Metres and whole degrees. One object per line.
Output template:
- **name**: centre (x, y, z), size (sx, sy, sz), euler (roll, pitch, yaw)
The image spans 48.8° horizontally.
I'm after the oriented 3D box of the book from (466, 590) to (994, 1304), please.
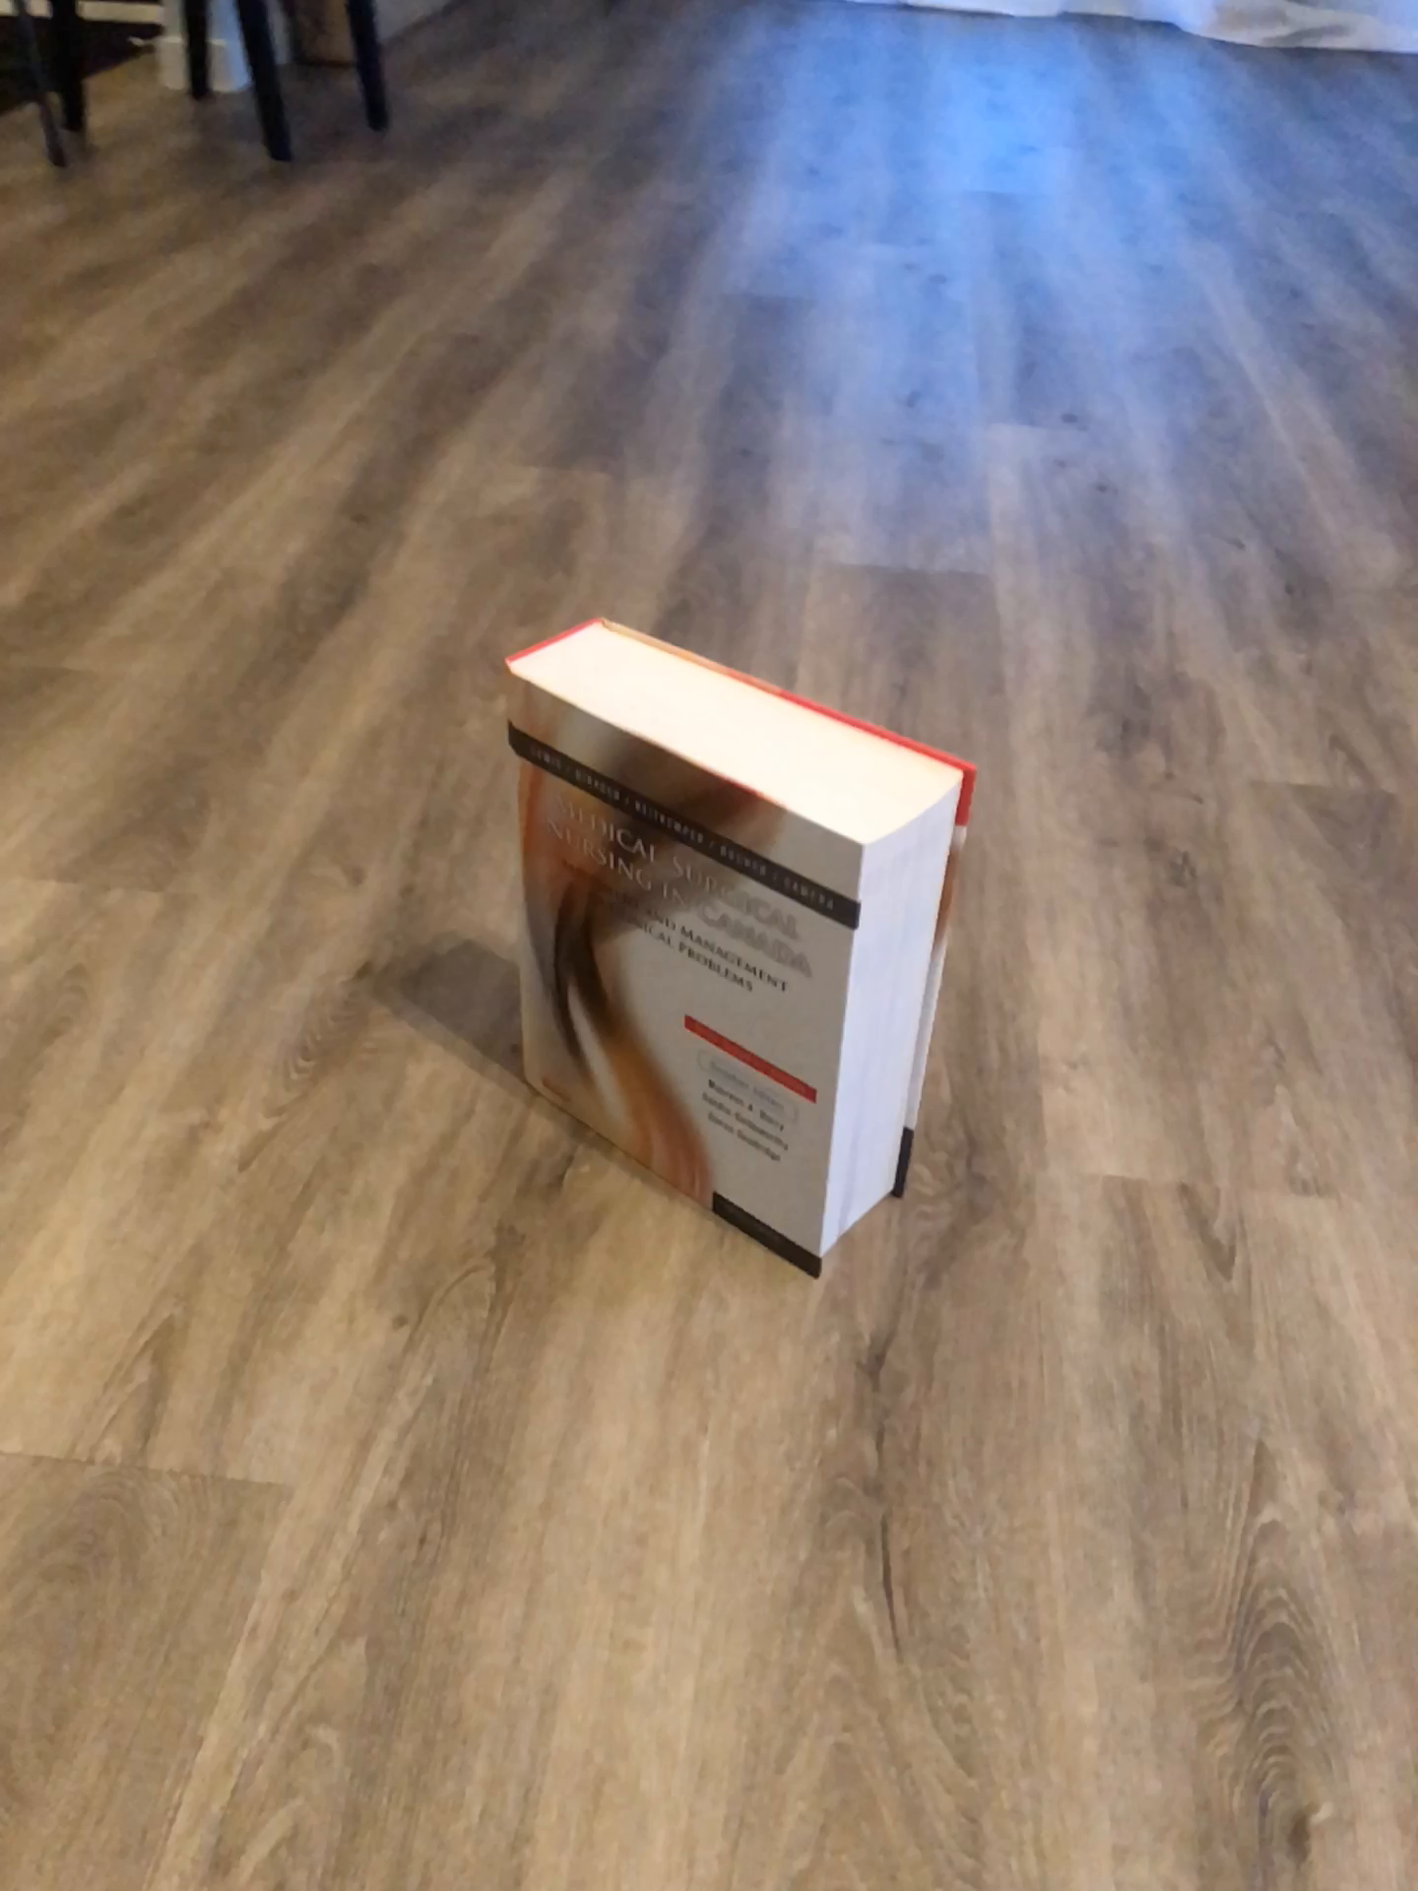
- **book**: centre (0.000, 0.002, 0.803), size (0.240, 0.290, 0.087), euler (28, 45, 29)
